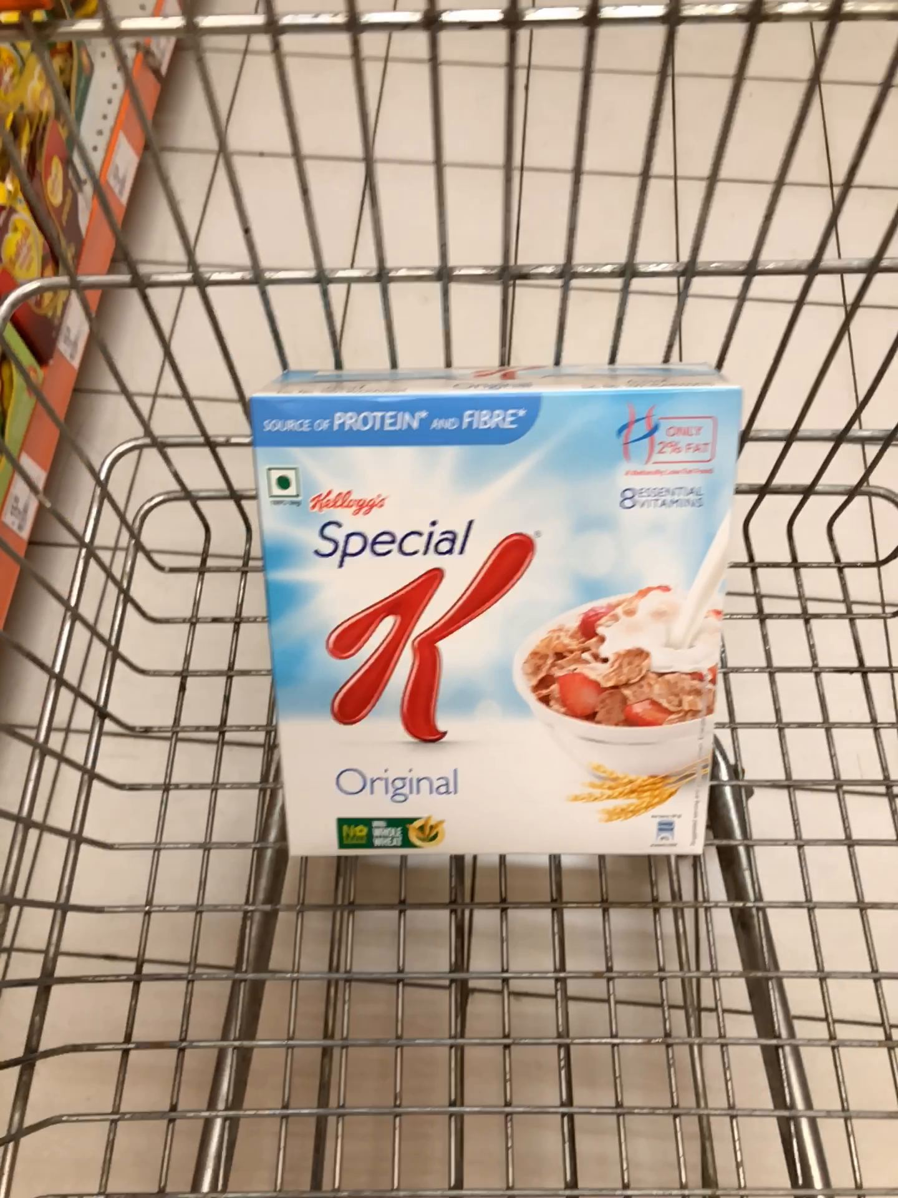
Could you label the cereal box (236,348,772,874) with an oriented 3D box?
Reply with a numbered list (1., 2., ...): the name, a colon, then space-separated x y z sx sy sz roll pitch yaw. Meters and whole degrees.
1. cereal box: 0.021 0.006 0.424 0.190 0.209 0.070 -1 21 0
